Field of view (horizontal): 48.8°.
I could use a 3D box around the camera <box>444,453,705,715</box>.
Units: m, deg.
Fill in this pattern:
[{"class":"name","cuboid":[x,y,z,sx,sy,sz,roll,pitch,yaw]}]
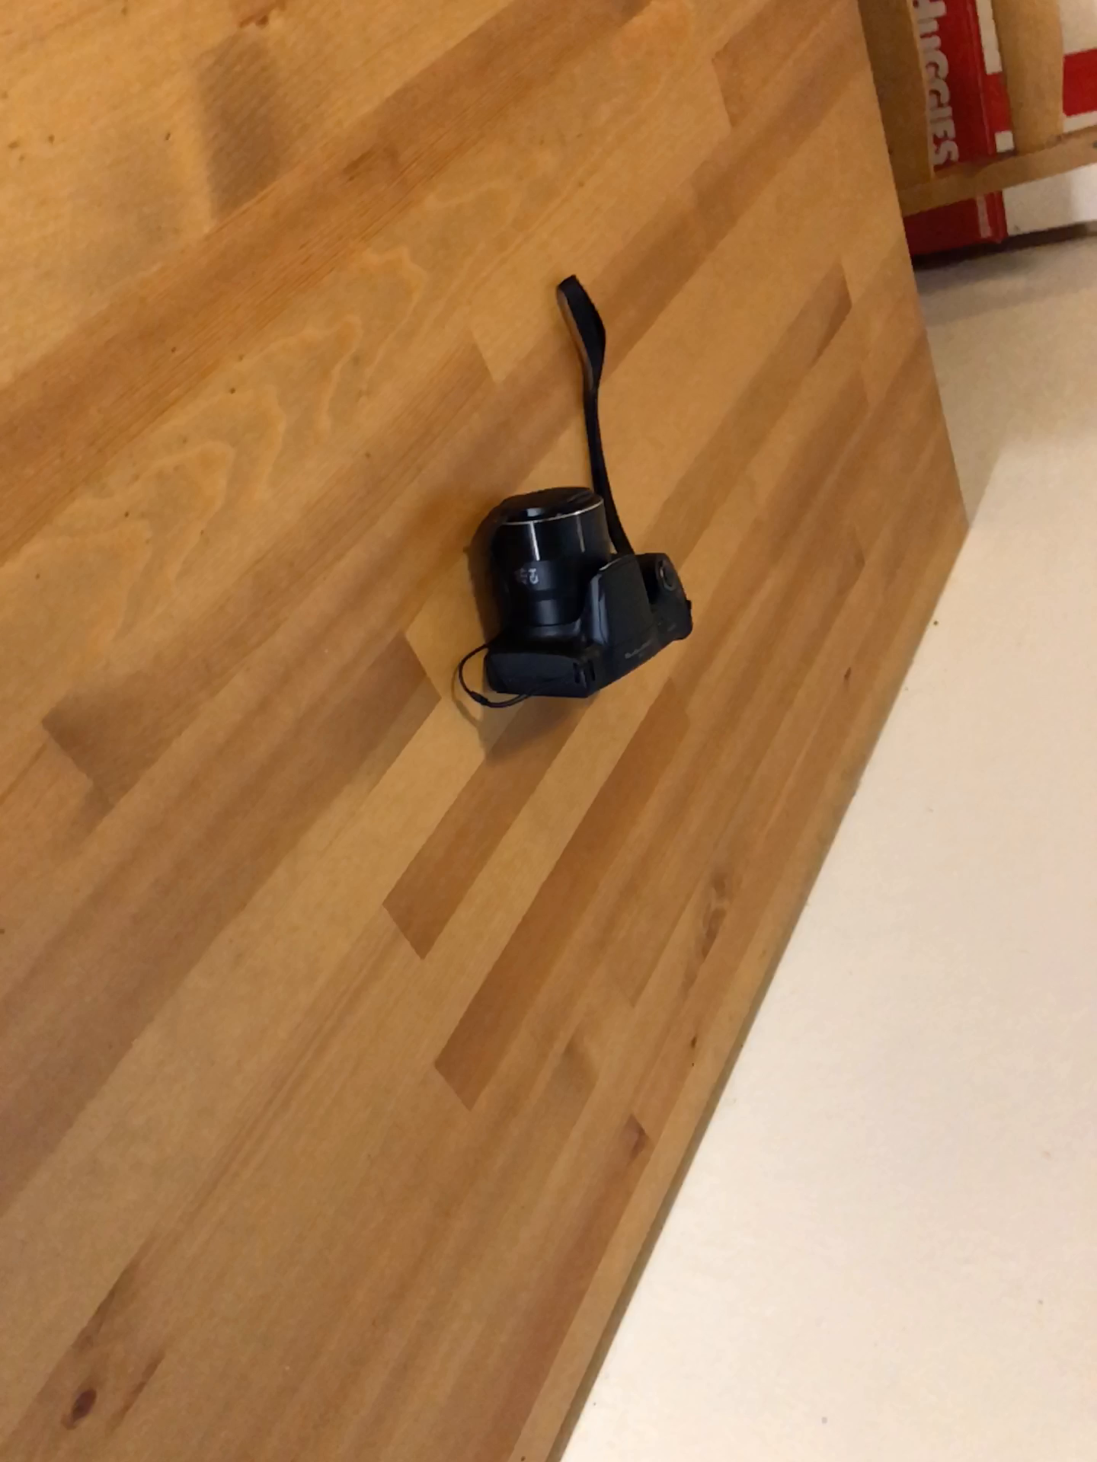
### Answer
[{"class":"camera","cuboid":[0.017,-0.075,0.602,0.110,0.062,0.096,-35,121,-46]}]
